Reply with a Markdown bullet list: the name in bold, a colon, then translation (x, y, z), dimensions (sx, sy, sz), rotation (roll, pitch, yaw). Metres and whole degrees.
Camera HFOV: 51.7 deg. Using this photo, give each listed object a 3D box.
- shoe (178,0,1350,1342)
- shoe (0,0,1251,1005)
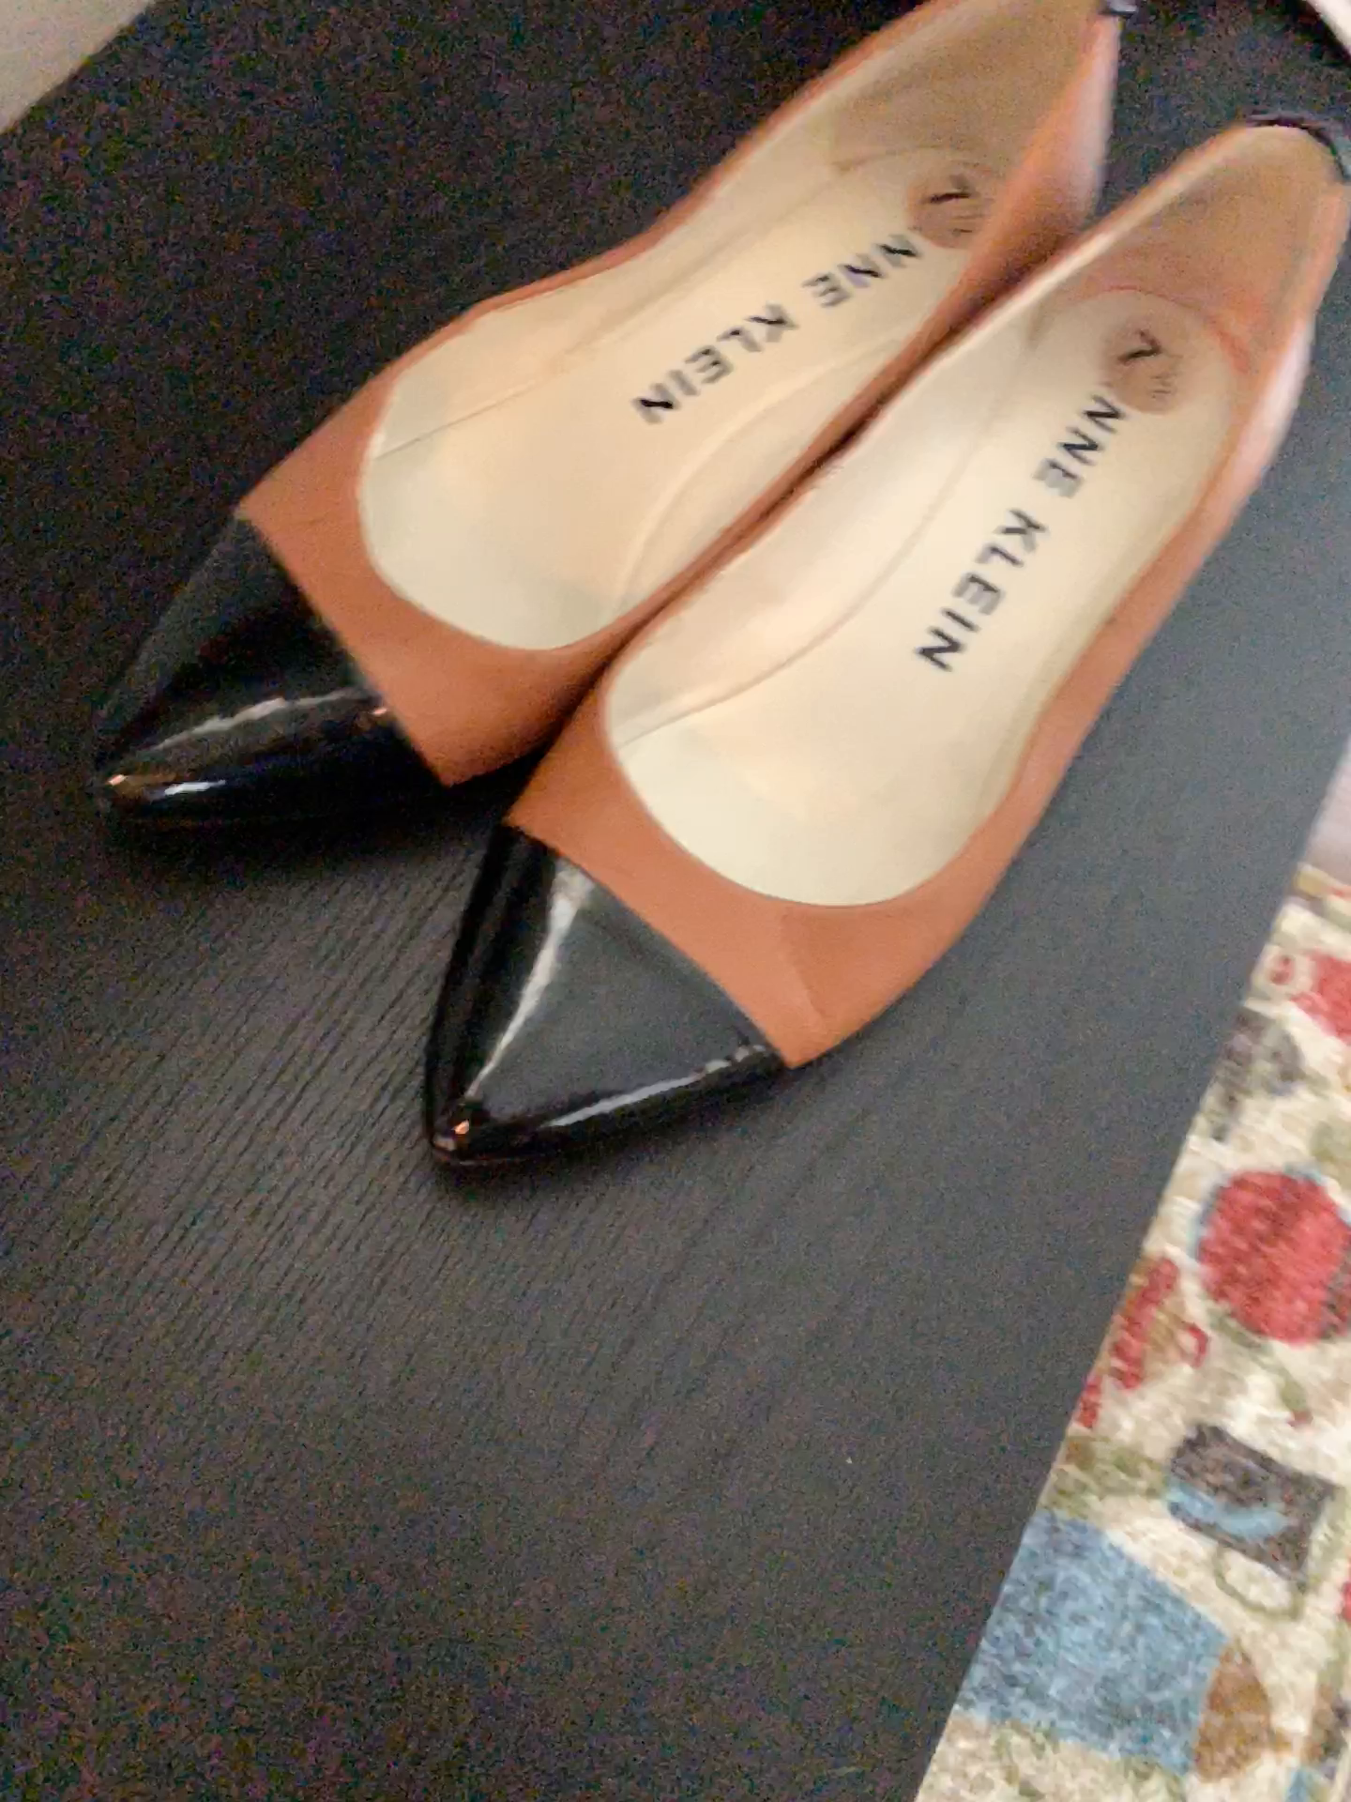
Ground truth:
- **shoe**: translation (0.037, -0.046, 0.288), dimensions (0.090, 0.080, 0.260), rotation (42, 84, 9)
- **shoe**: translation (-0.014, -0.098, 0.296), dimensions (0.260, 0.080, 0.080), rotation (-40, 80, -7)
